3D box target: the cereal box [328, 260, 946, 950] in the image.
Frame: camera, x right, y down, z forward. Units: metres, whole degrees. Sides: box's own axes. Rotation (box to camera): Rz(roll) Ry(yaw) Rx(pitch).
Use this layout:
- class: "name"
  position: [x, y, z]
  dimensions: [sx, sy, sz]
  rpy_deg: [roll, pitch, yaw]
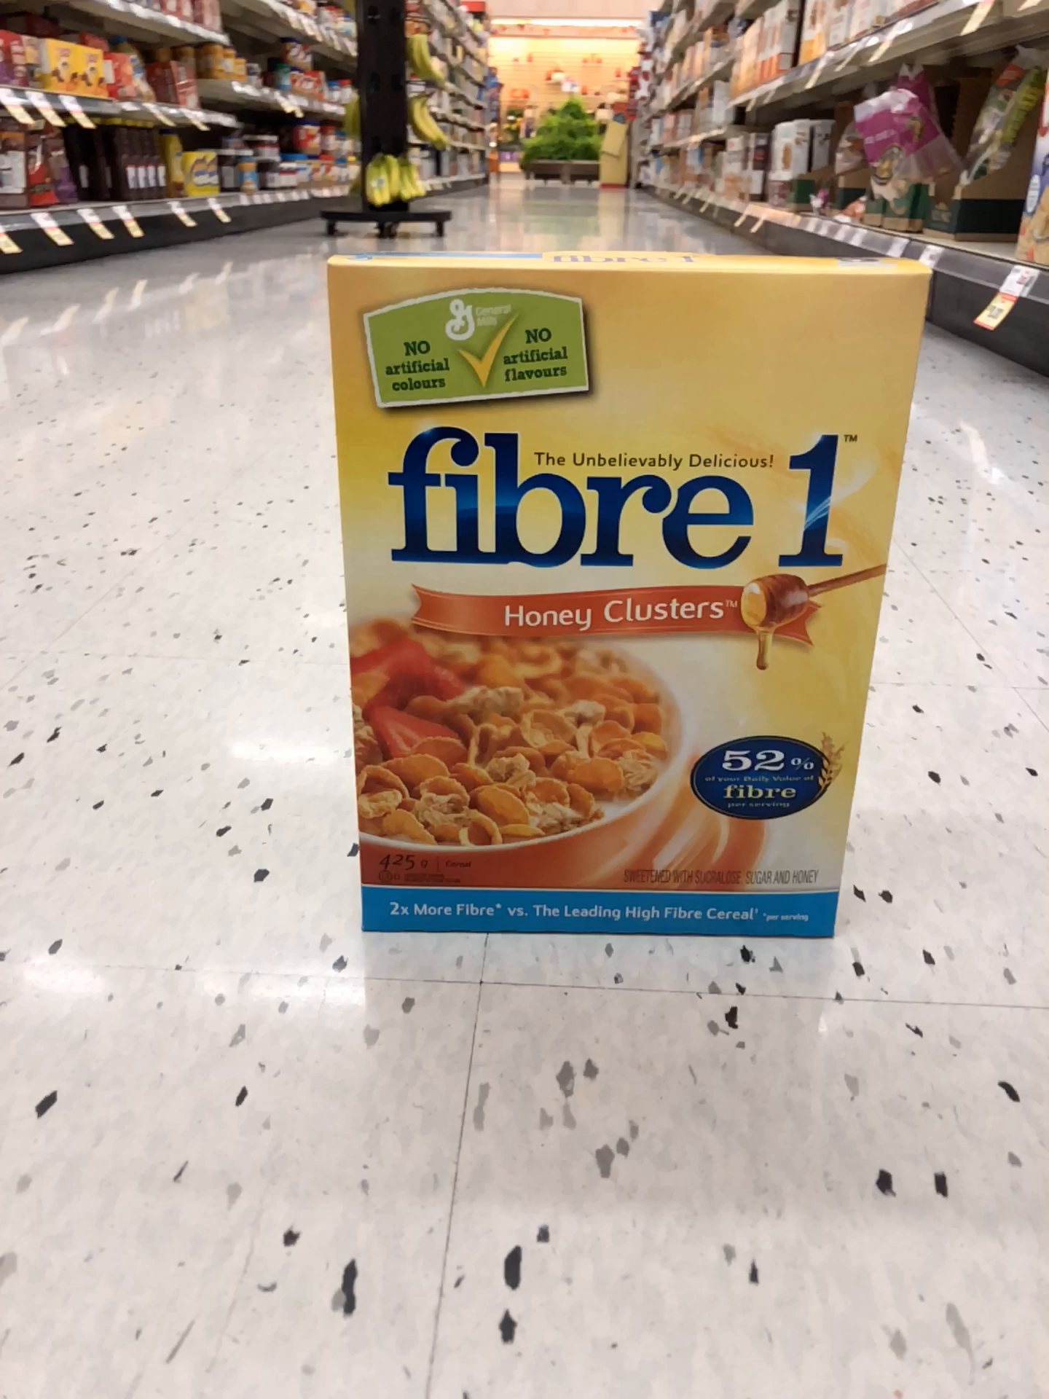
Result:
- class: "cereal box"
  position: [0.032, -0.026, 0.428]
  dimensions: [0.190, 0.249, 0.050]
  rpy_deg: [1, 24, -1]
